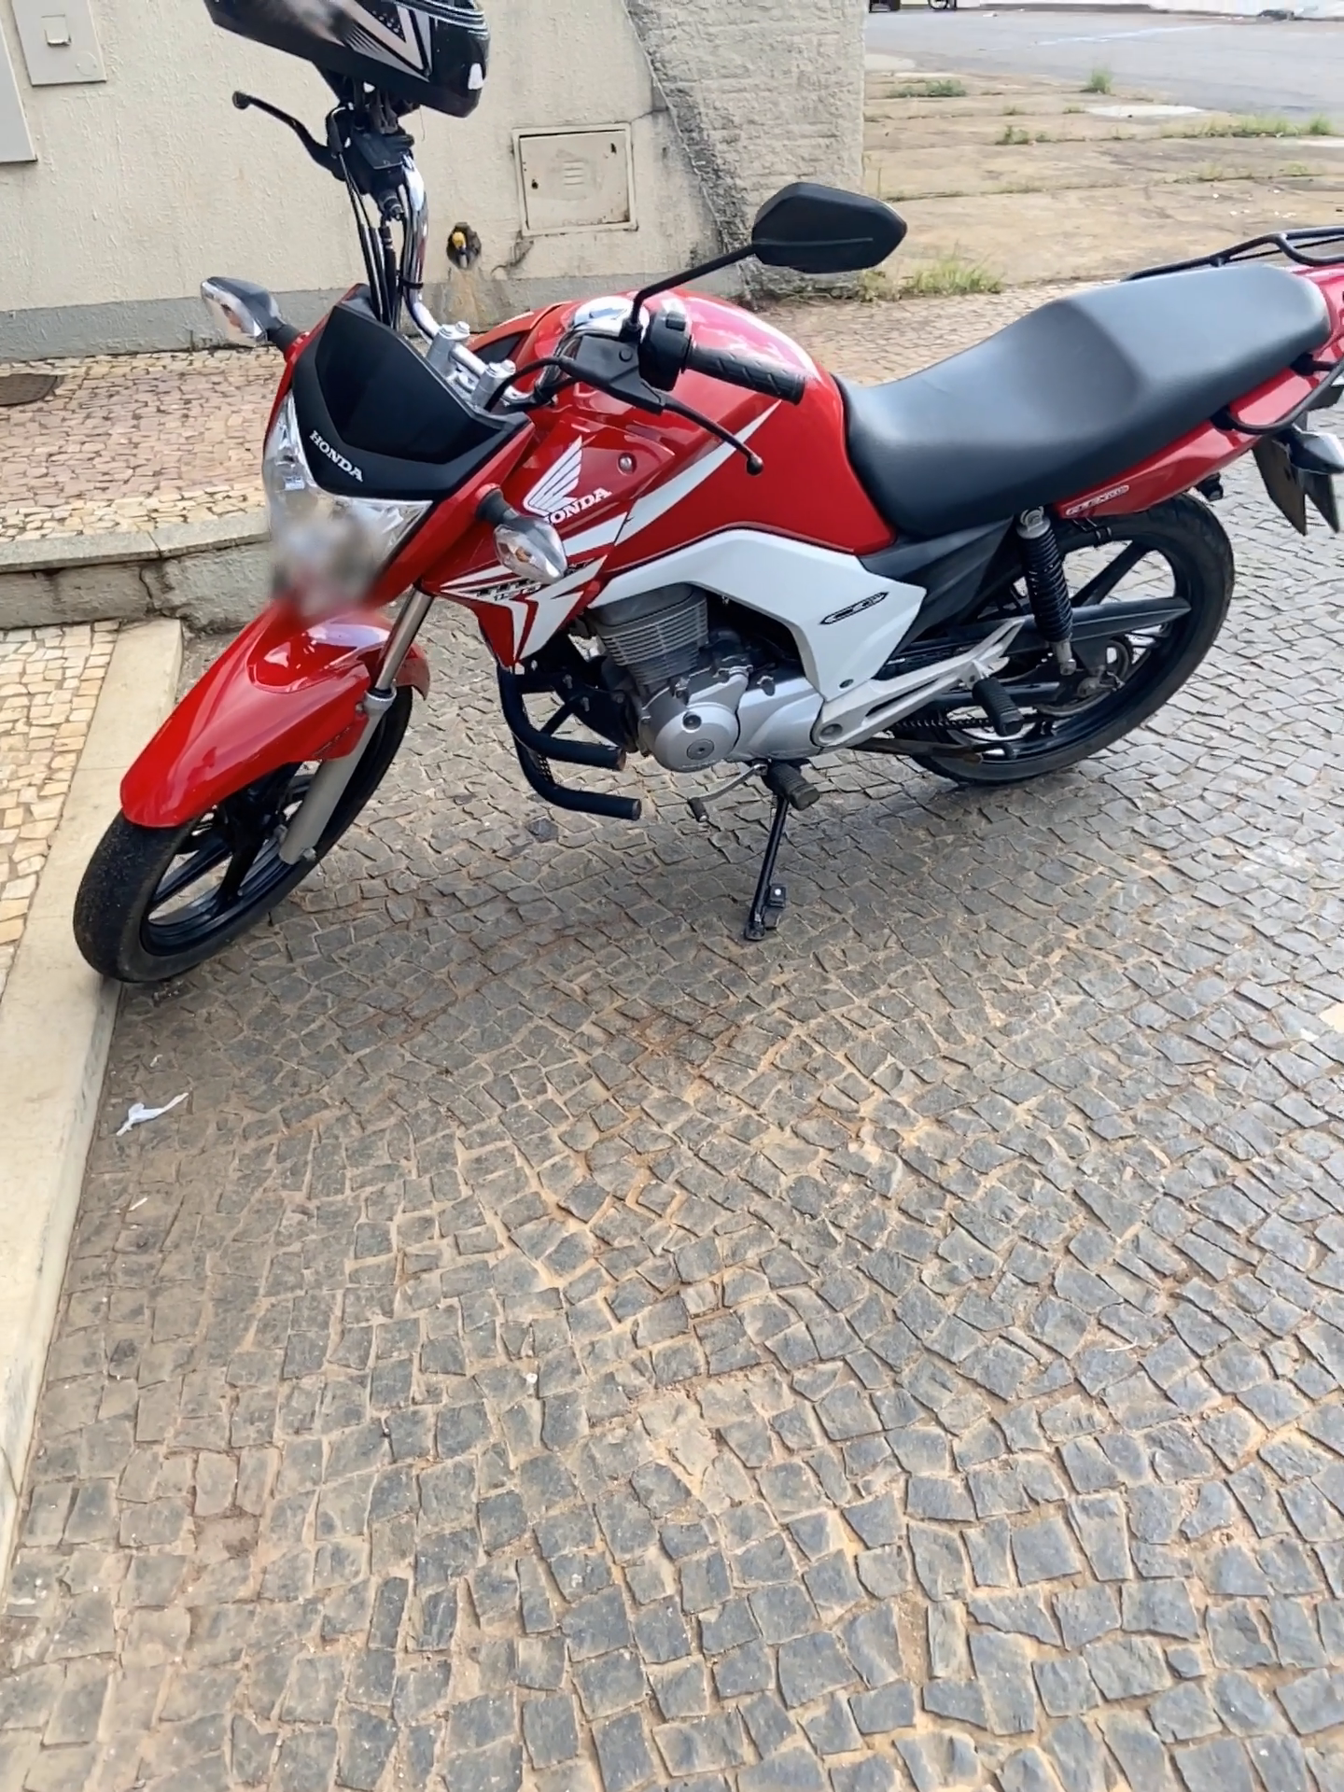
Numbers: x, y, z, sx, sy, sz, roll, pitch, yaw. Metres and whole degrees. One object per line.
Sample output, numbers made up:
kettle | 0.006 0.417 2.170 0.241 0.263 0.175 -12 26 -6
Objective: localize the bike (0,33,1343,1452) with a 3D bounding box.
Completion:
bike | 0.180 -0.406 2.022 2.074 1.382 0.812 -19 36 -24
